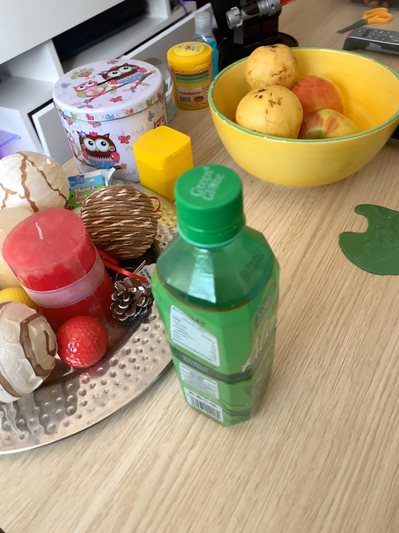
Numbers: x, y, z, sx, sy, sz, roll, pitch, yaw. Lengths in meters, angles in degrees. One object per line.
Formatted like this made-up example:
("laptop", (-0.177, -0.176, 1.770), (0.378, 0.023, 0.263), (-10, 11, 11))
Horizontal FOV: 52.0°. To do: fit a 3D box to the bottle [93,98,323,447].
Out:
("bottle", (0.015, 0.024, 0.250), (0.070, 0.218, 0.070), (-3, 48, 4))
